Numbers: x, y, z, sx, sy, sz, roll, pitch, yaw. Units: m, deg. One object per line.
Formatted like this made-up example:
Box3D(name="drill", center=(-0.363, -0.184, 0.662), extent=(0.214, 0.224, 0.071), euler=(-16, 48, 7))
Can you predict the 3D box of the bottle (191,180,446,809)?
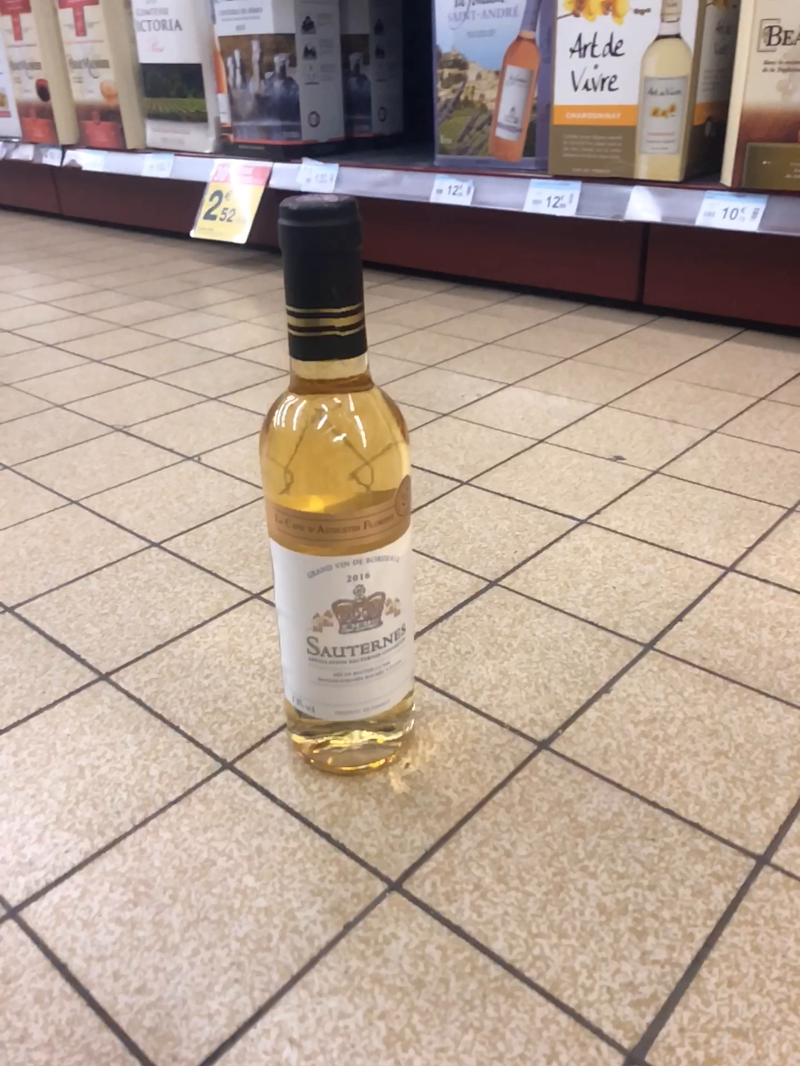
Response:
Box3D(name="bottle", center=(-0.028, -0.011, 0.358), extent=(0.070, 0.239, 0.070), euler=(-1, 27, 1))
